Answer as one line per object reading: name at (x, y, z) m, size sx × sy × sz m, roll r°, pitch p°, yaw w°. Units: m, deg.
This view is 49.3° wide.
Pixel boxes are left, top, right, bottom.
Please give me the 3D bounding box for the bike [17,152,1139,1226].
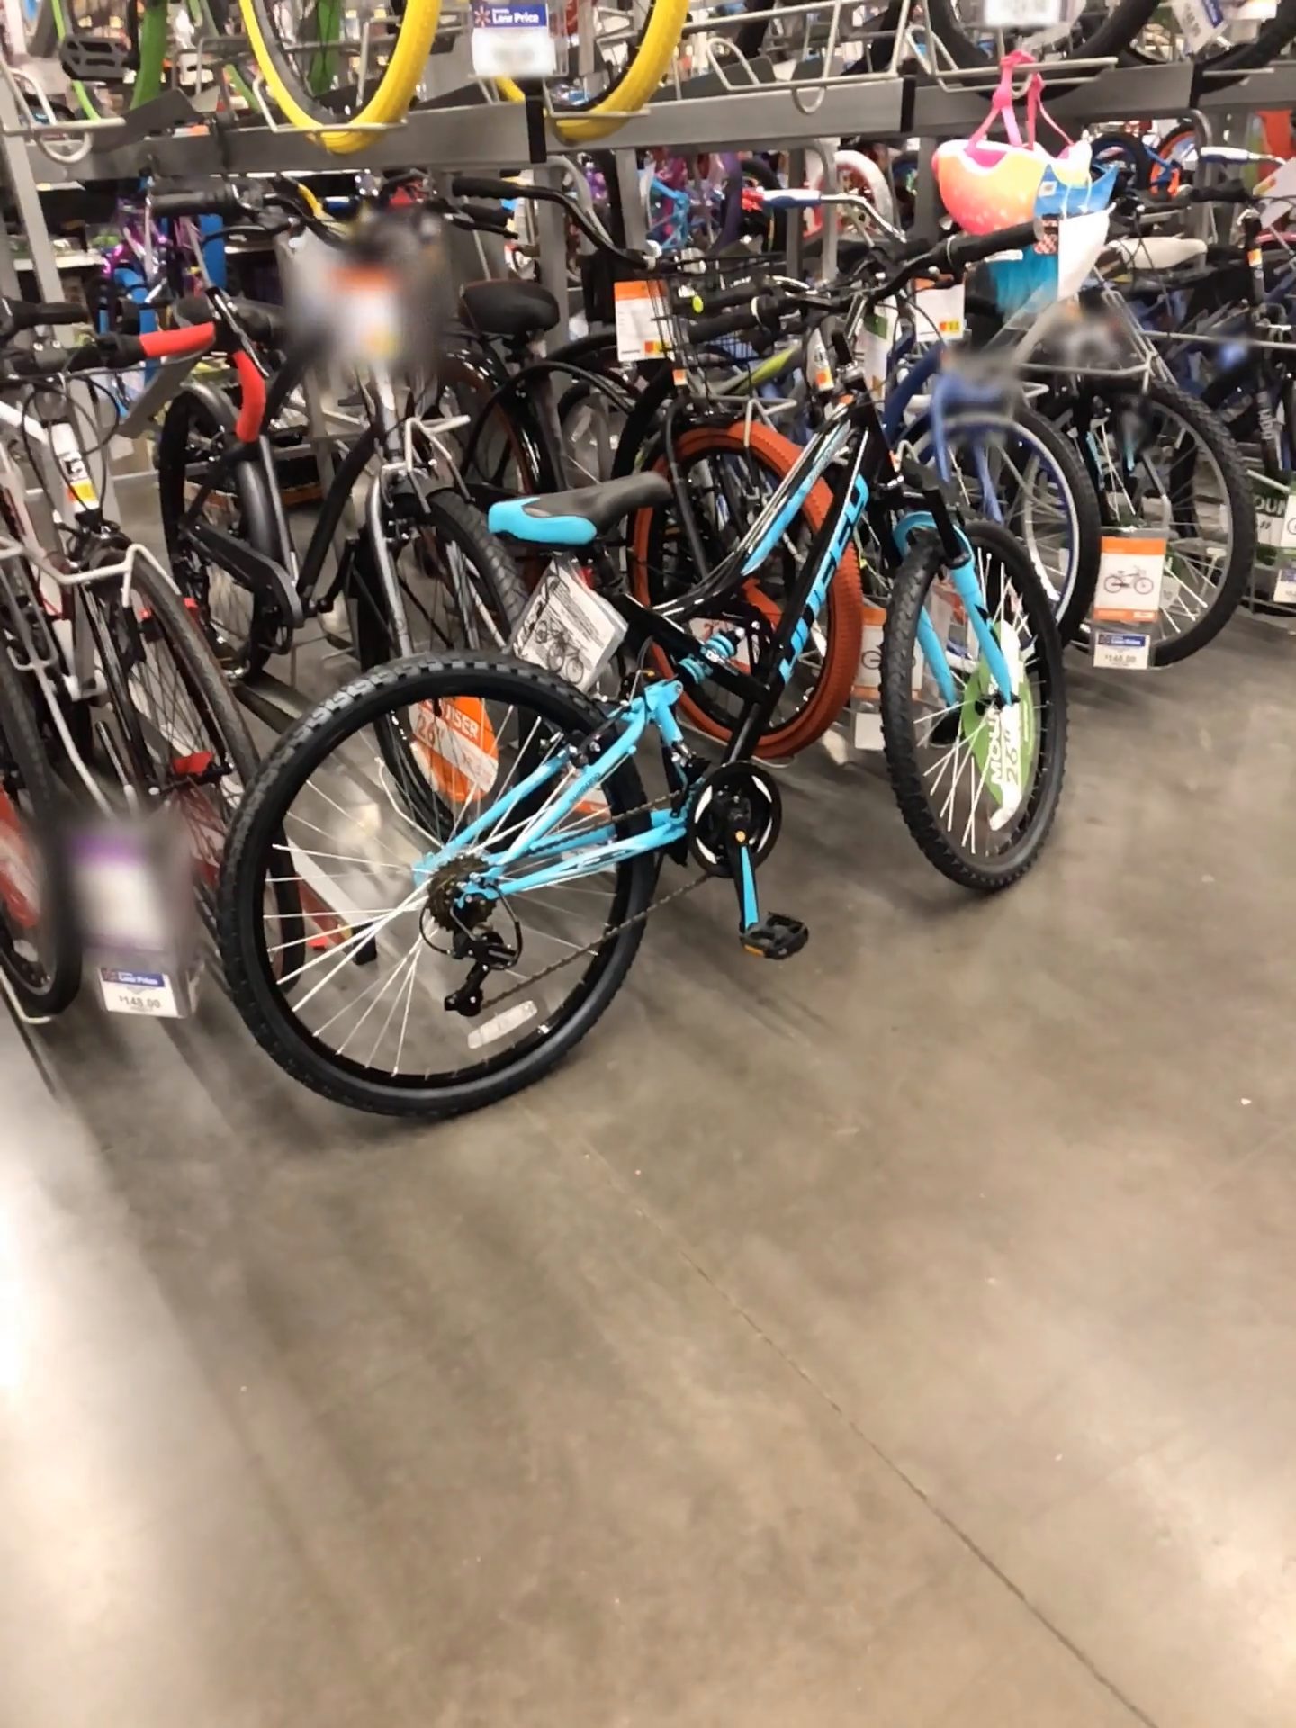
bike at (0.017, -0.435, 2.285) m, size 1.709 × 1.120 × 0.545 m, roll -25°, pitch 36°, yaw -32°
